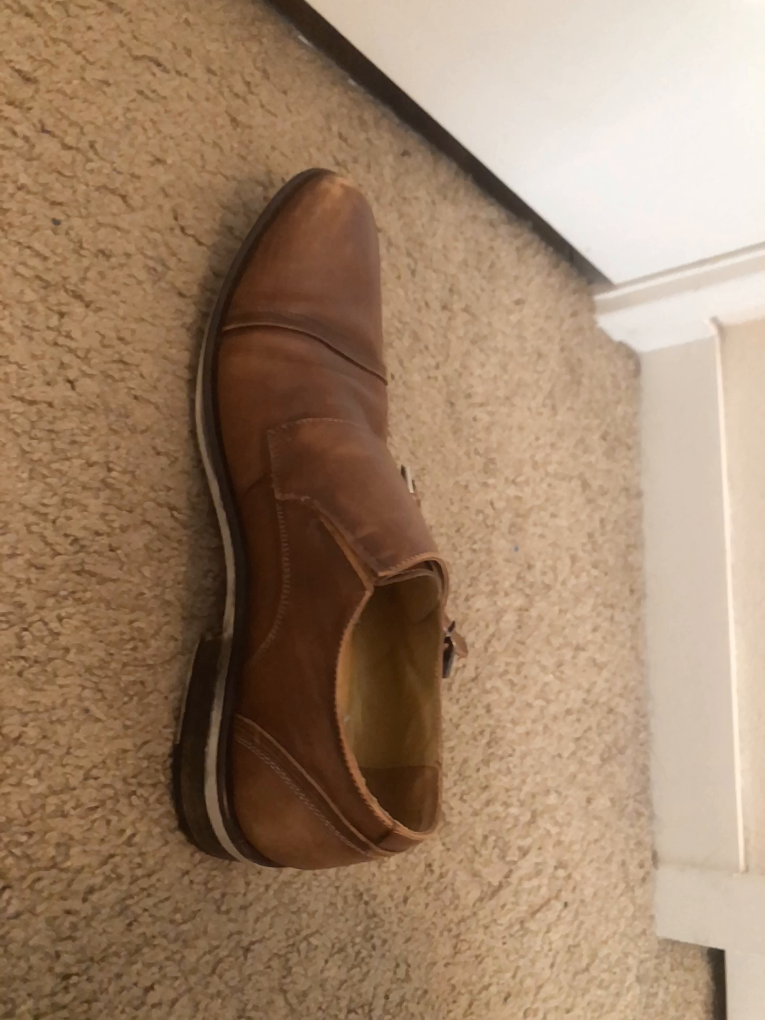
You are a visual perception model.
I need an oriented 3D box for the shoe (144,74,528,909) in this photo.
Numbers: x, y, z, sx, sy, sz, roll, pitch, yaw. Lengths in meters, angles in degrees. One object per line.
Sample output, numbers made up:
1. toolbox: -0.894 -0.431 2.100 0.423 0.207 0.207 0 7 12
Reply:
1. shoe: -0.012 -0.006 0.354 0.100 0.106 0.286 16 71 -50
